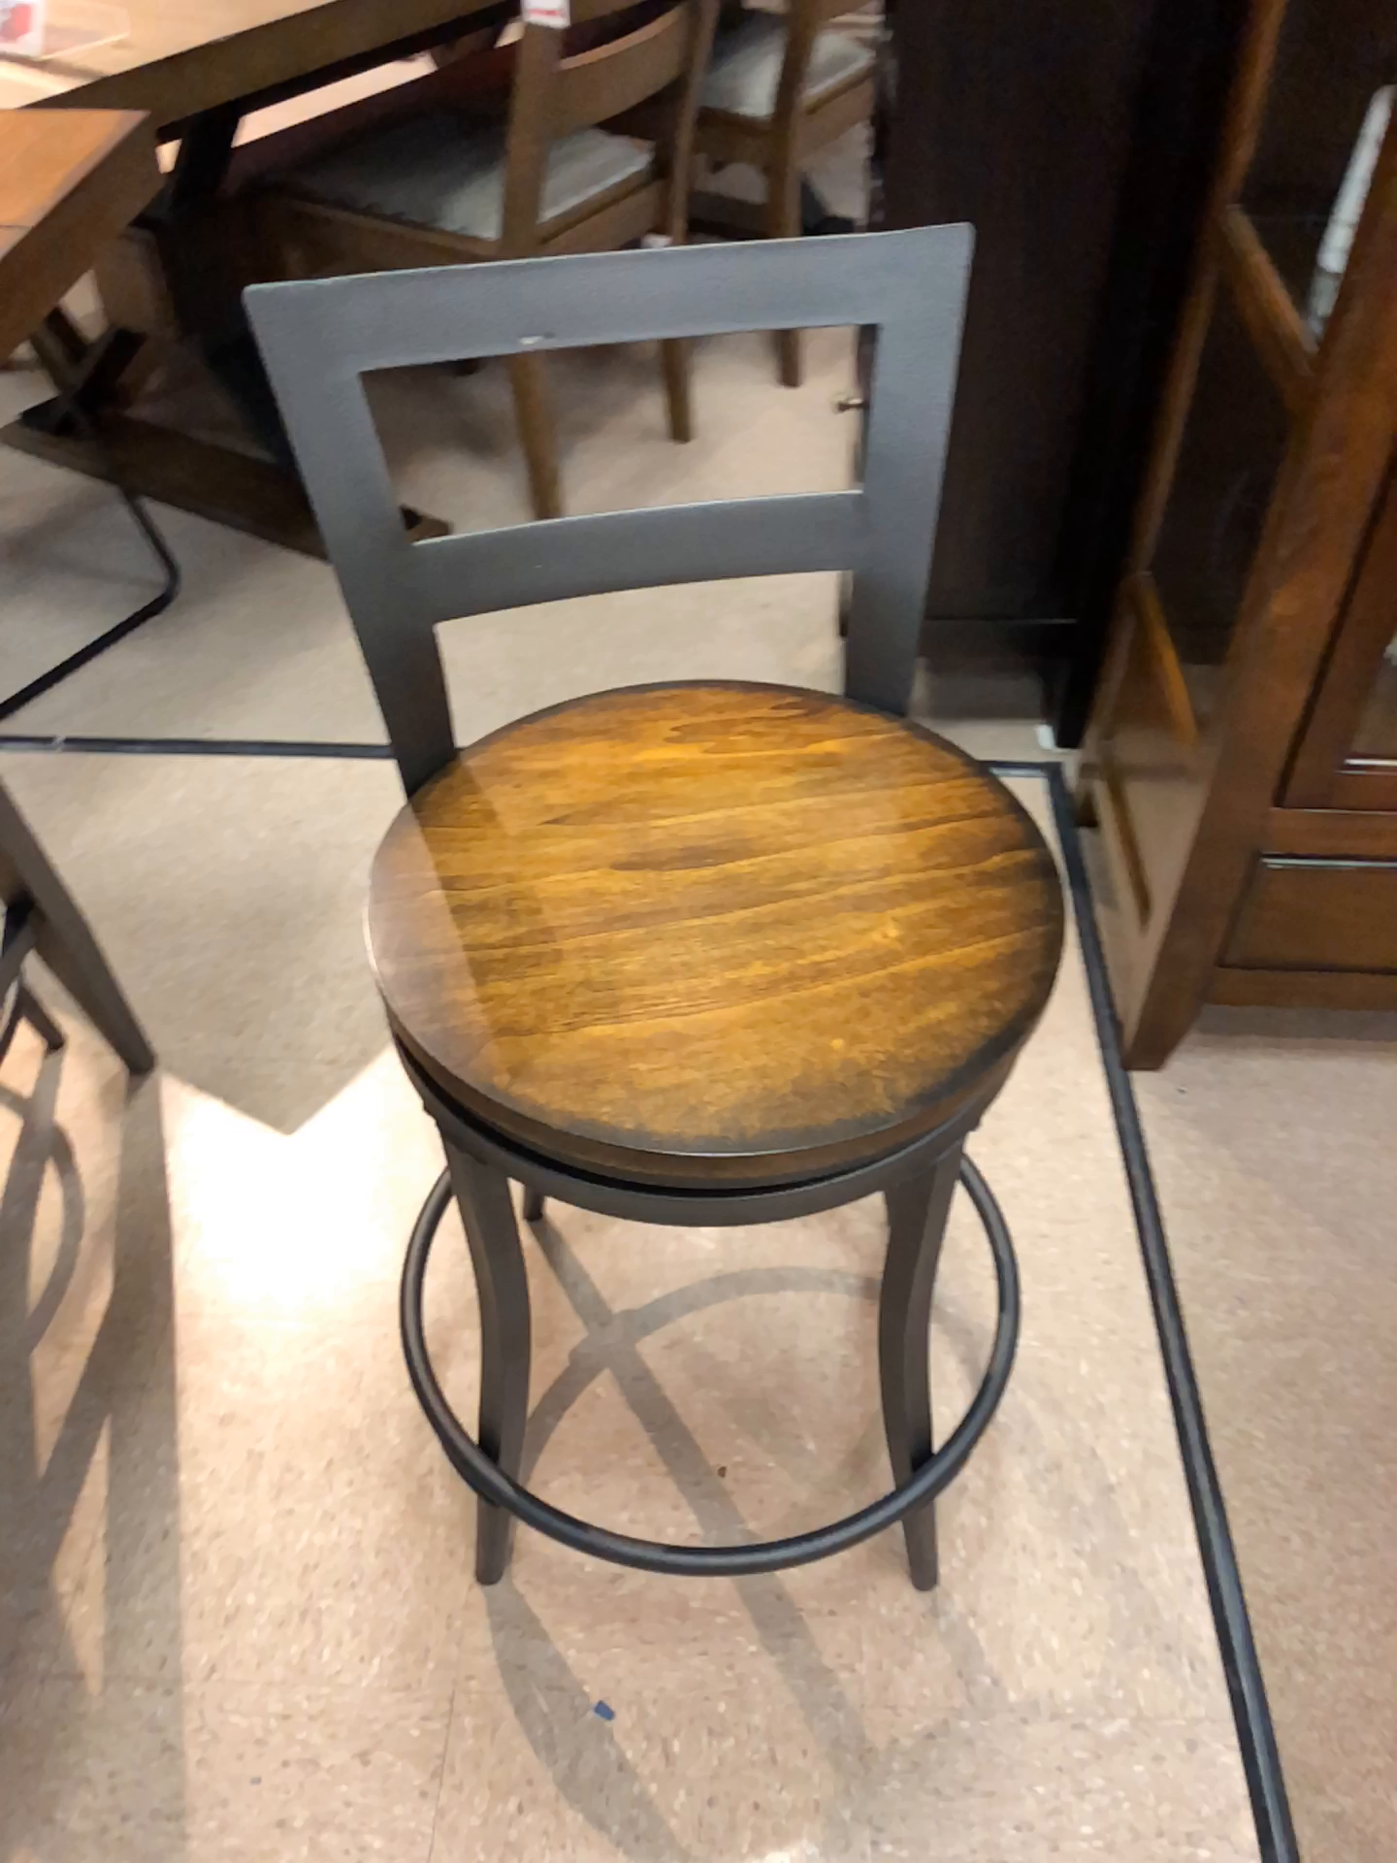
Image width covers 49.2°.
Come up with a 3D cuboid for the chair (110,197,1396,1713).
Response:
[{"bbox_3d":[-0.004,0.052,0.974,0.490,0.804,0.463,-9,44,-9],"label":"chair"}]
